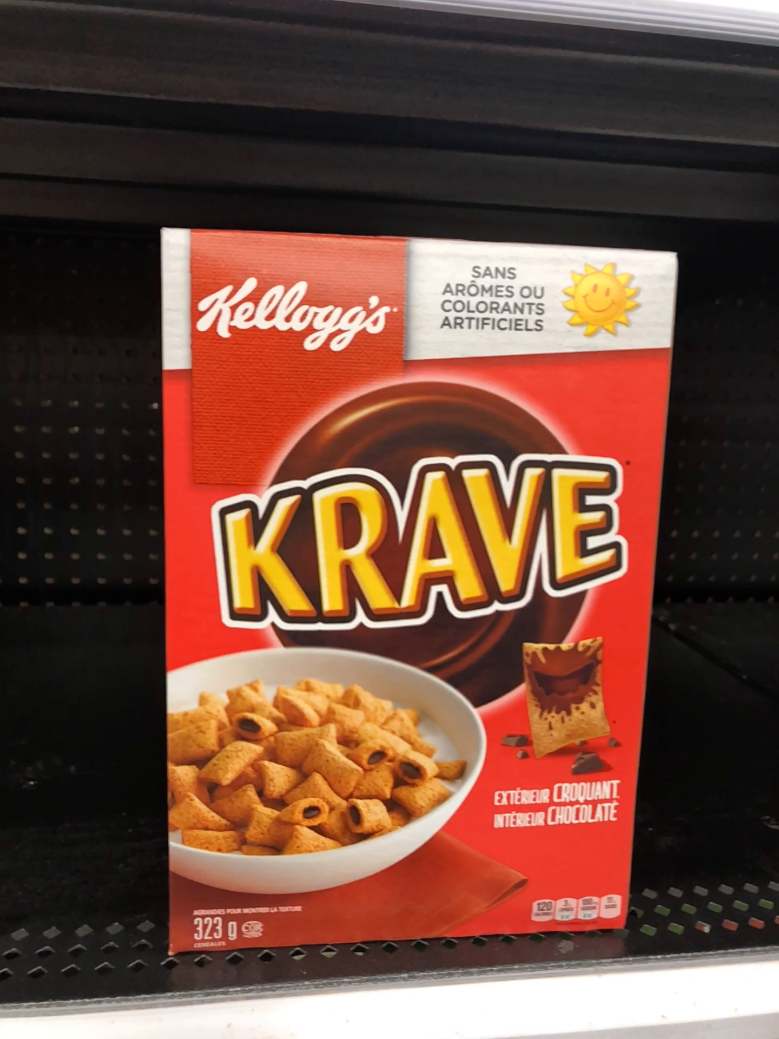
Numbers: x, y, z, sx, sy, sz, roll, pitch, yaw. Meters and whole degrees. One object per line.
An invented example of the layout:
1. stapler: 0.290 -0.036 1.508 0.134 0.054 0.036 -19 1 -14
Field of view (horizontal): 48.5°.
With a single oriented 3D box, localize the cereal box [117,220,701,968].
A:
1. cereal box: 0.003 0.033 0.353 0.210 0.279 0.050 1 9 -8
